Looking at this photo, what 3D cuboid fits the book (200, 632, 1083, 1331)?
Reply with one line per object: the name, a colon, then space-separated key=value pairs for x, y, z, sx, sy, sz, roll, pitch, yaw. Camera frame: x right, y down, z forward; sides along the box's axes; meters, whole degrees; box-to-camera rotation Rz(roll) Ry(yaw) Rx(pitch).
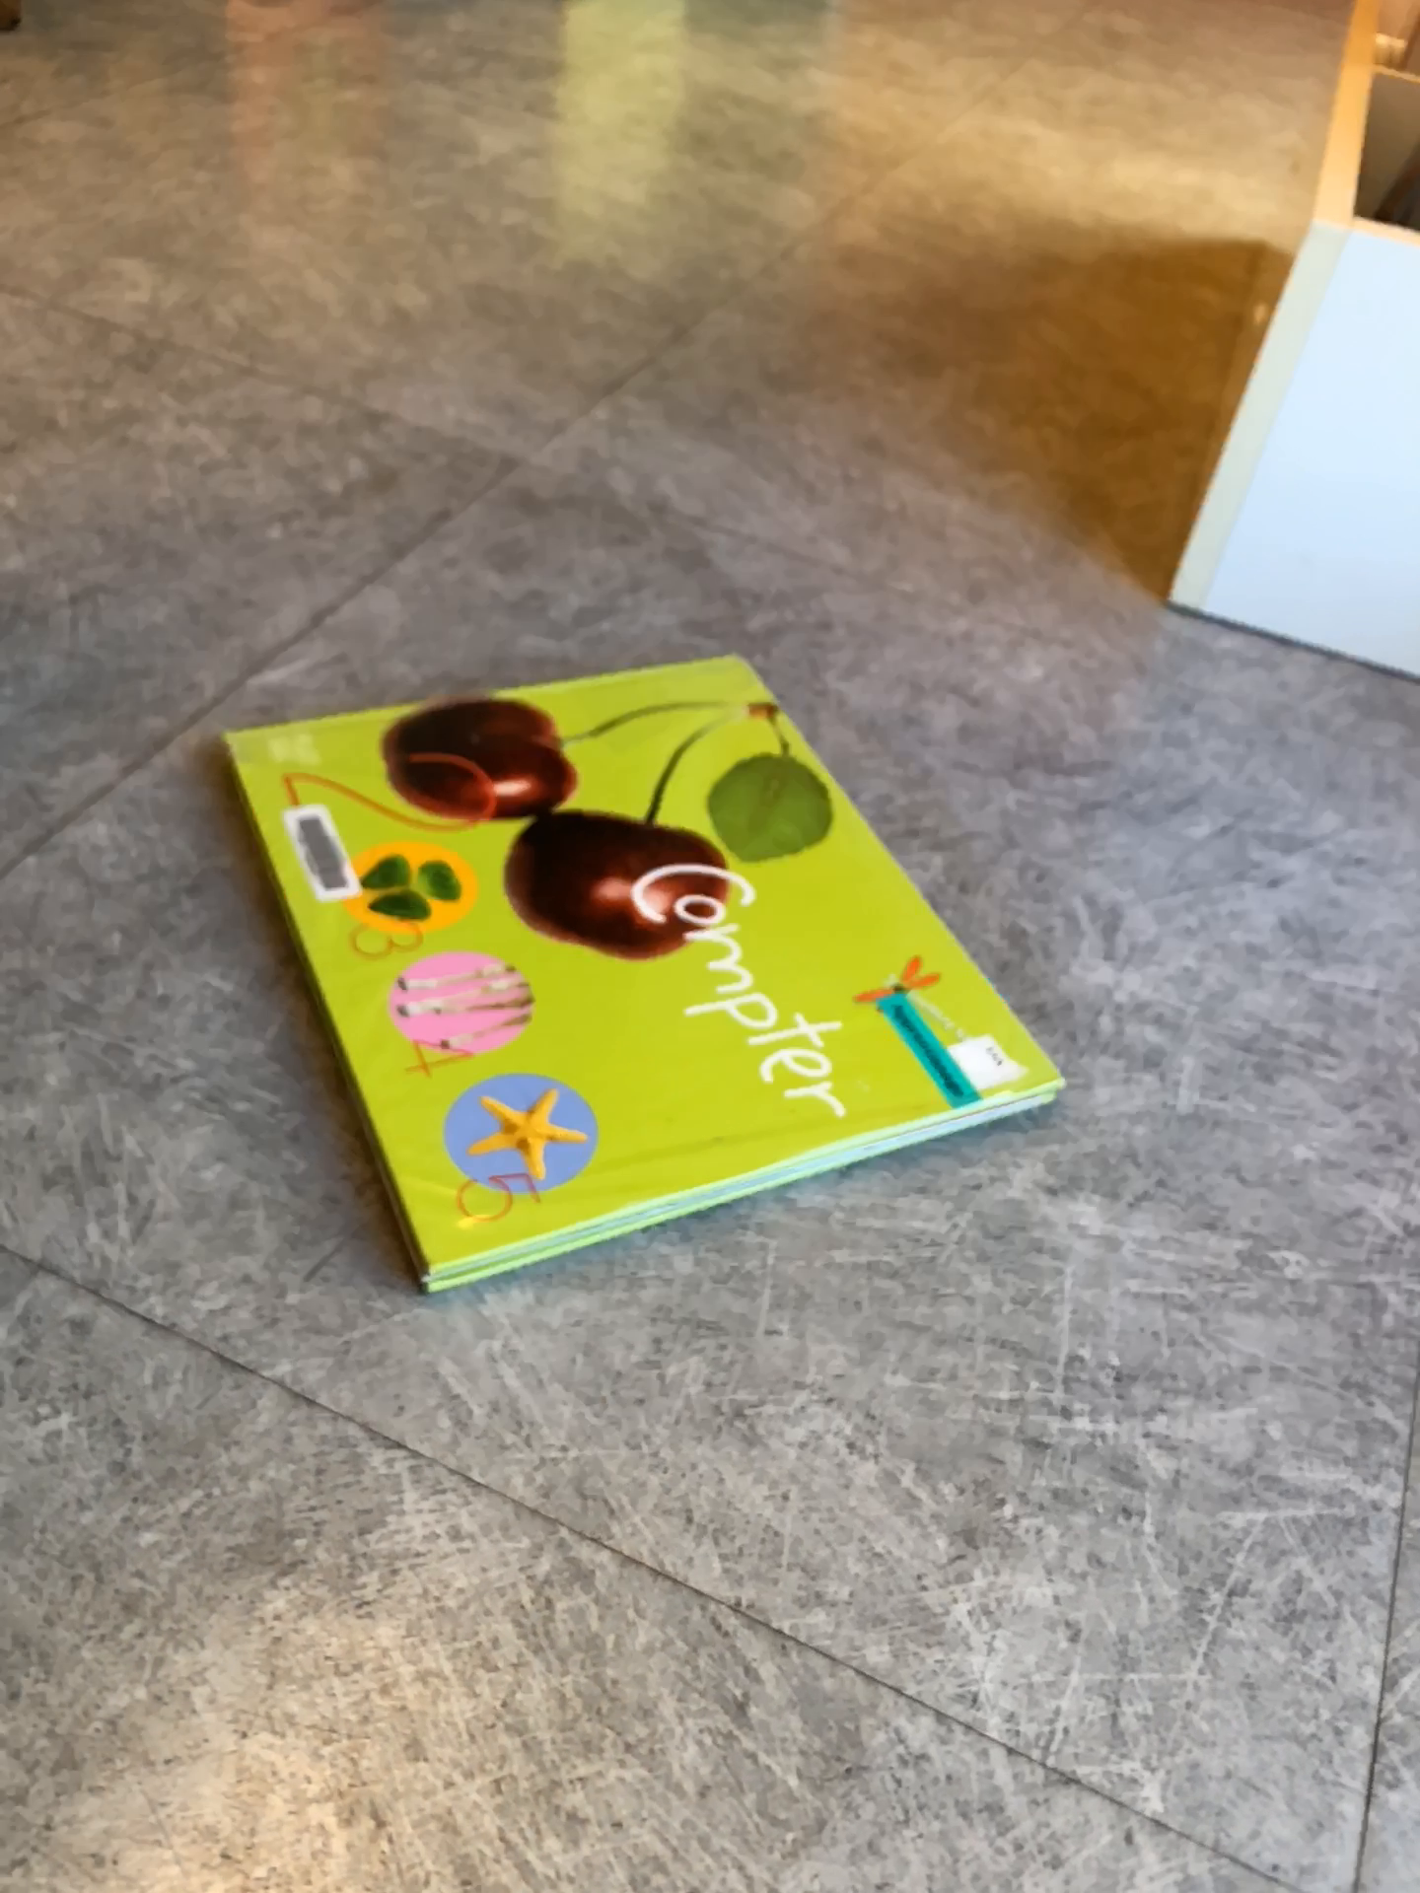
book: x=-0.035 y=-0.013 z=0.549 sx=0.222 sy=0.021 sz=0.256 roll=-14 pitch=49 yaw=-21
